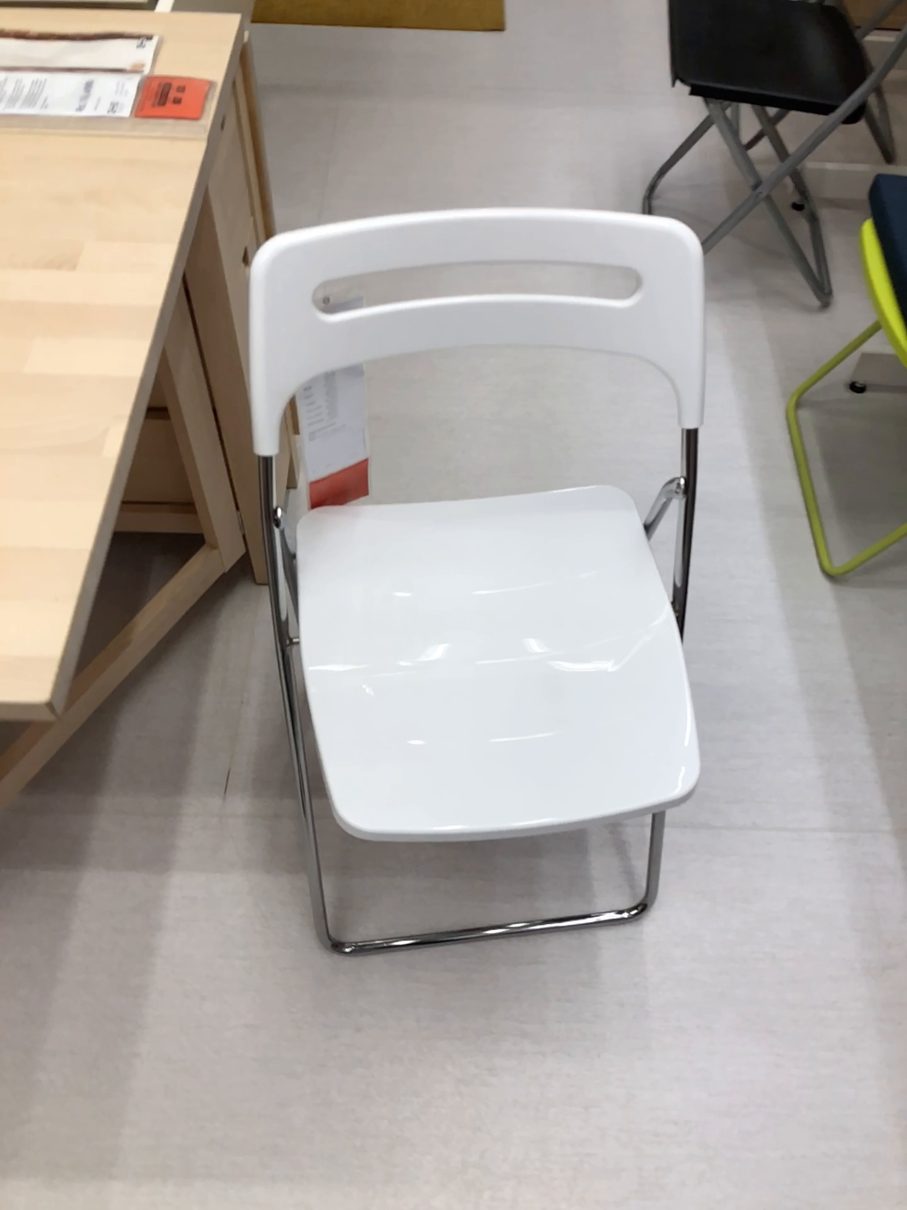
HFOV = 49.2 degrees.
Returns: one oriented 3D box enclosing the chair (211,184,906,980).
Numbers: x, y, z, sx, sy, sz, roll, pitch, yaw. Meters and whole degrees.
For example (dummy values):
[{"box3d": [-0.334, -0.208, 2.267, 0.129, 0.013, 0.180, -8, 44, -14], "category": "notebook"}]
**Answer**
[{"box3d": [0.044, 0.037, 0.997, 0.440, 0.716, 0.422, -5, 55, -5], "category": "chair"}]
